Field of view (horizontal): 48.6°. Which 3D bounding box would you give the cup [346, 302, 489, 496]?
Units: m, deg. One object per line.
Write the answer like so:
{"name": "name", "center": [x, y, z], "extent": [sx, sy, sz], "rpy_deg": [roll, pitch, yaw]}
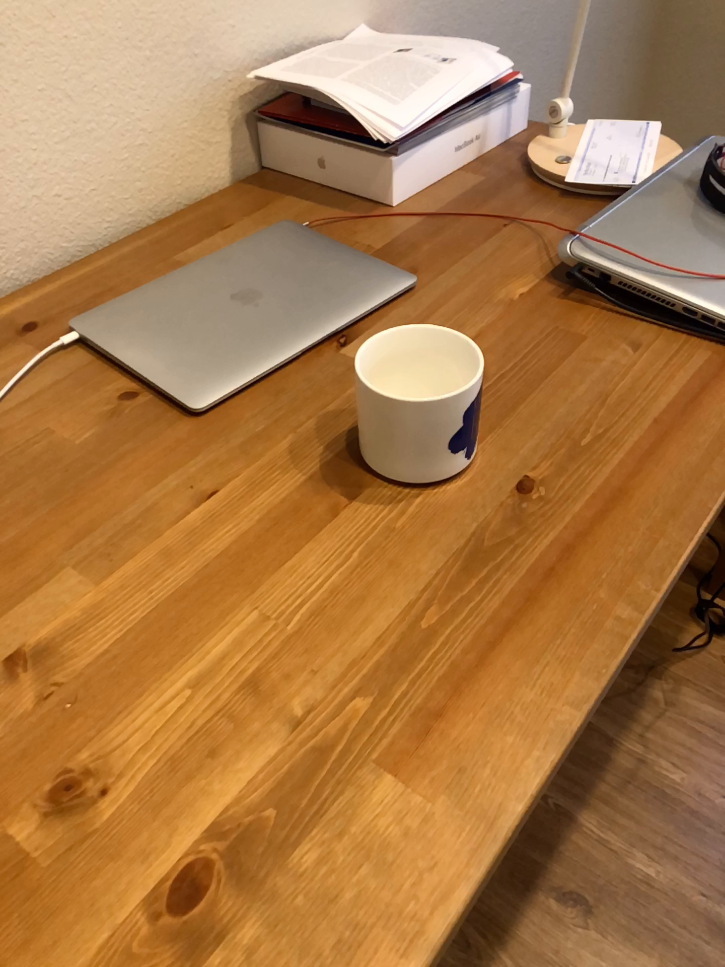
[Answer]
{"name": "cup", "center": [0.046, -0.070, 0.637], "extent": [0.100, 0.090, 0.130], "rpy_deg": [2, 43, 6]}
